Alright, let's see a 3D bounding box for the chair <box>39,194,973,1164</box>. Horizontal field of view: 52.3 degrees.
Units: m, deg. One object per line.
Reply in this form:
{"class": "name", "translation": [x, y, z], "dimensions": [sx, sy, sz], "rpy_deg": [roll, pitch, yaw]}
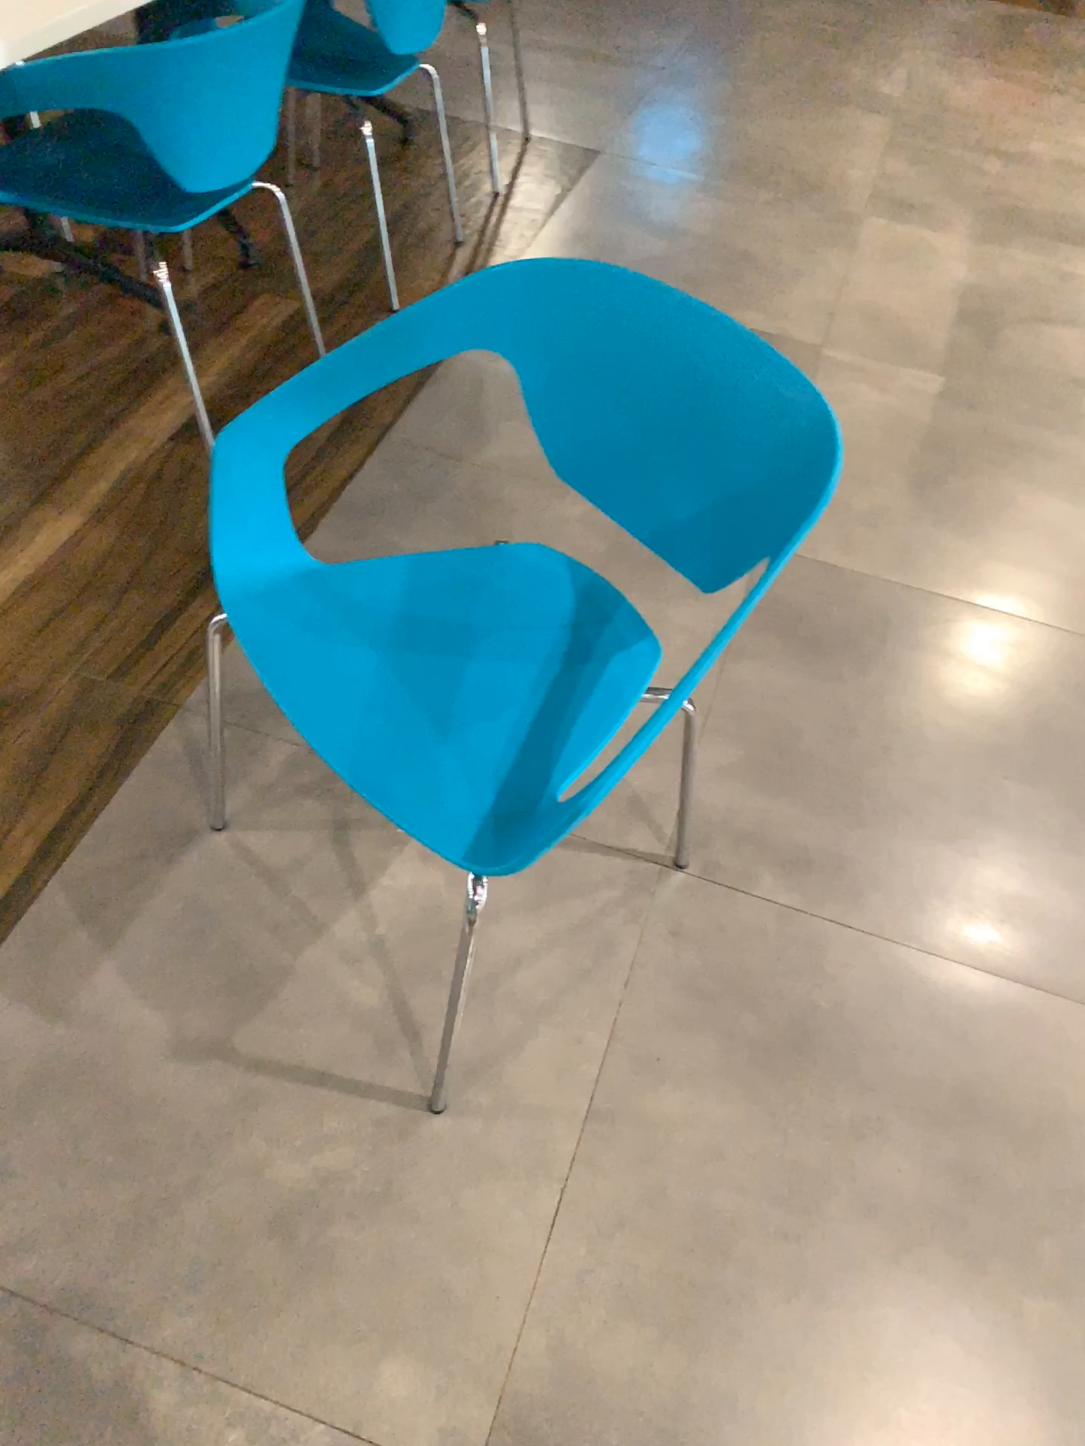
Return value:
{"class": "chair", "translation": [-0.067, -0.056, 1.264], "dimensions": [0.592, 0.724, 0.613], "rpy_deg": [-29, 58, -28]}
